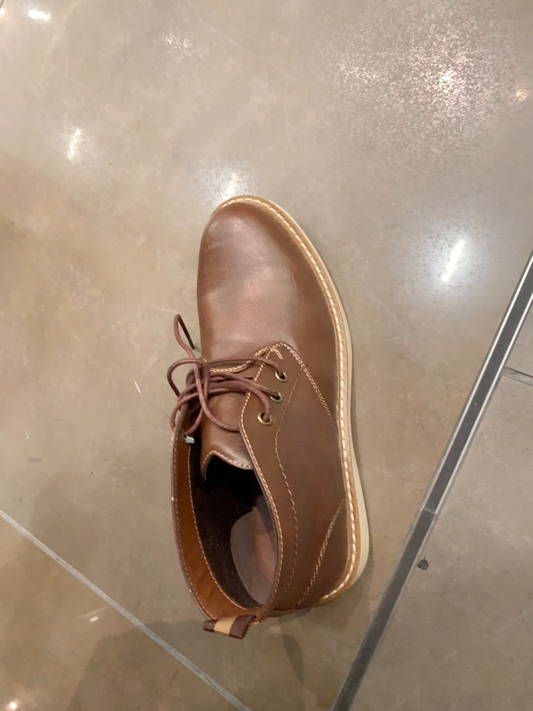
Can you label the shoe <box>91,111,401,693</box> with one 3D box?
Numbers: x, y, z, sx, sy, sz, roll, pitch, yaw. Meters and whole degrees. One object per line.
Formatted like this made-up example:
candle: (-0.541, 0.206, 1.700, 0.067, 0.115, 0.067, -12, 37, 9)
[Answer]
shoe: (-0.011, 0.026, 0.348, 0.107, 0.120, 0.295, -15, 79, 24)
